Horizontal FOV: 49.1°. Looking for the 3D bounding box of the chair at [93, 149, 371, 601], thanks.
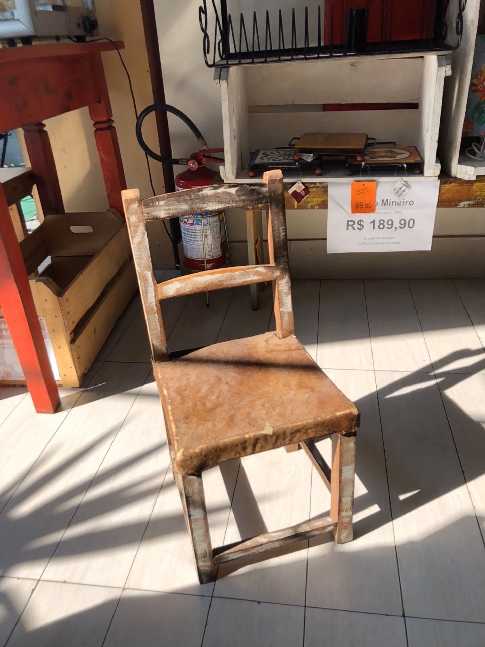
[{"bbox_3d":[-0.023,0.065,0.877,0.300,0.596,0.342,-12,28,-15],"label":"chair"}]
